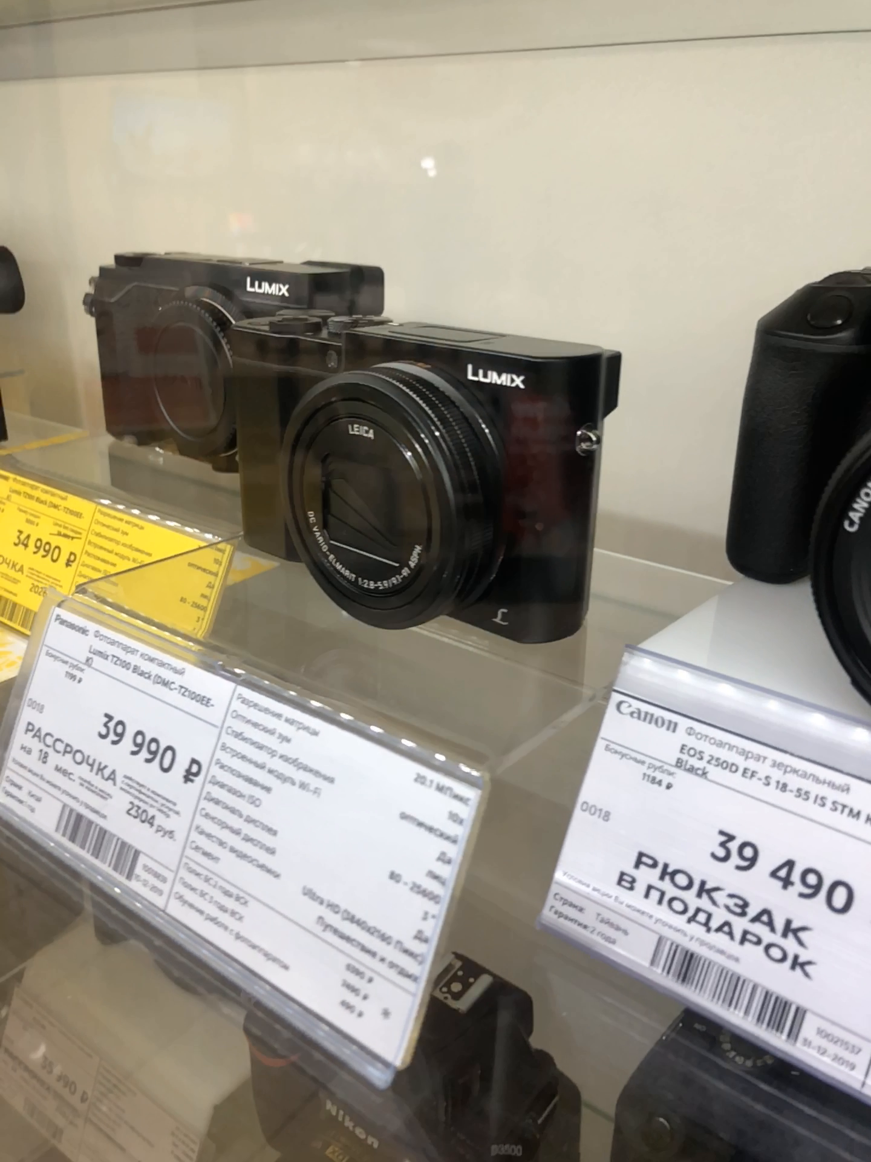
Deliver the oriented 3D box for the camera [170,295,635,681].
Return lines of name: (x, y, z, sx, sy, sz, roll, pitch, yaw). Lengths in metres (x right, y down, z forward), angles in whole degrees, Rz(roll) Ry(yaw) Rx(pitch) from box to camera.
camera: (-0.013, -0.030, 0.241, 0.111, 0.068, 0.038, 18, 27, 35)

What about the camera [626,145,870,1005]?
camera: (0.154, -0.038, 0.207, 0.158, 0.099, 0.164, 17, 29, 35)

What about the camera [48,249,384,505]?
camera: (-0.077, -0.077, 0.342, 0.108, 0.068, 0.055, 18, 27, 35)
